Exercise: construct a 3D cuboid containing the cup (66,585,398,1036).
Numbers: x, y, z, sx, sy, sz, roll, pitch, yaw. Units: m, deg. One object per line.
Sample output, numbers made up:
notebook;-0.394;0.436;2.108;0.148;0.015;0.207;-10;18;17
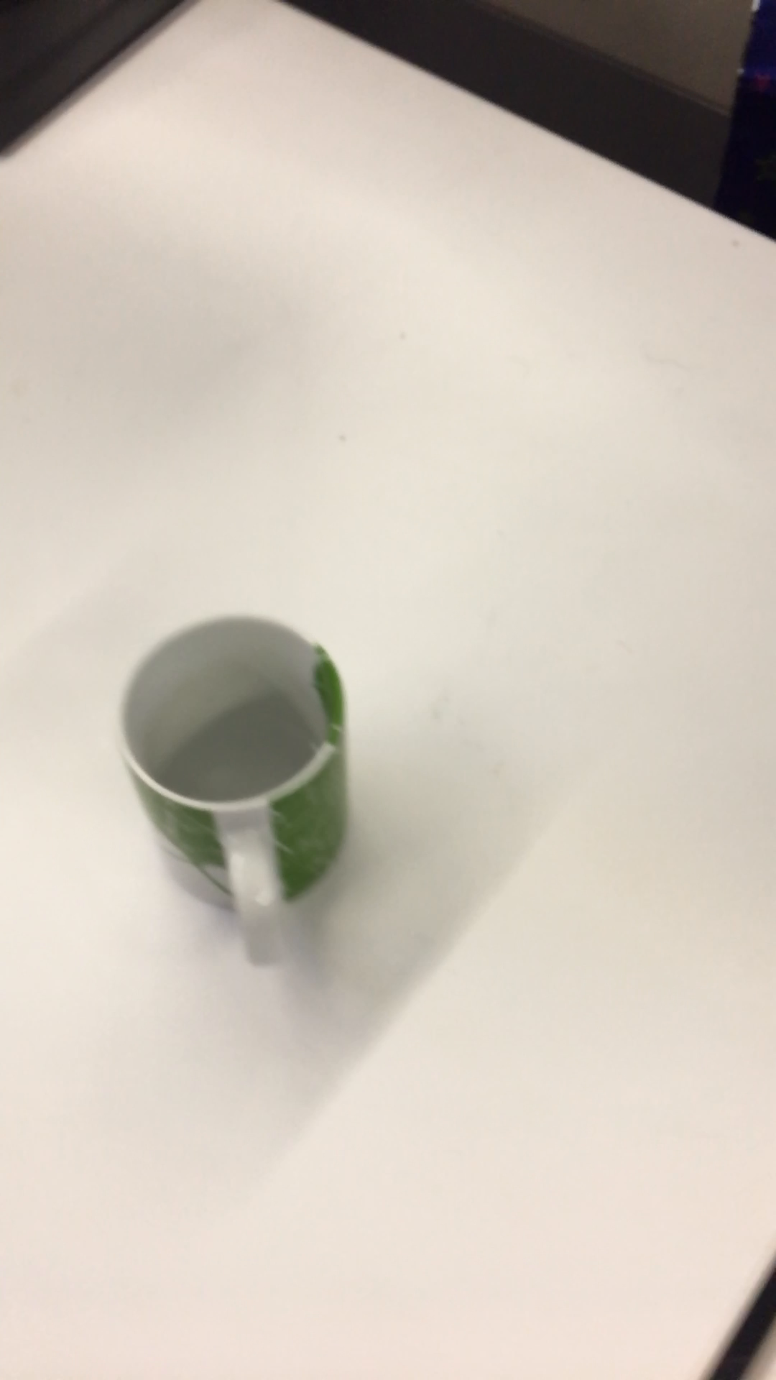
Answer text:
cup;-0.056;0.044;0.426;0.090;0.090;0.120;-12;60;-8
